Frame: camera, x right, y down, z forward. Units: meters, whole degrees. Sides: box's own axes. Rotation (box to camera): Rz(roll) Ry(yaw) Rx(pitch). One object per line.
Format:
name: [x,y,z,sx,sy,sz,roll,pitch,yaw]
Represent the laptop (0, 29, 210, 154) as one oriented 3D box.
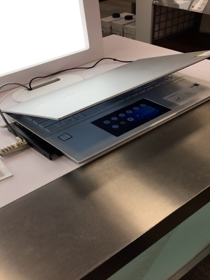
laptop: [0.029,-0.119,0.529,0.341,0.098,0.241,-29,43,-30]
